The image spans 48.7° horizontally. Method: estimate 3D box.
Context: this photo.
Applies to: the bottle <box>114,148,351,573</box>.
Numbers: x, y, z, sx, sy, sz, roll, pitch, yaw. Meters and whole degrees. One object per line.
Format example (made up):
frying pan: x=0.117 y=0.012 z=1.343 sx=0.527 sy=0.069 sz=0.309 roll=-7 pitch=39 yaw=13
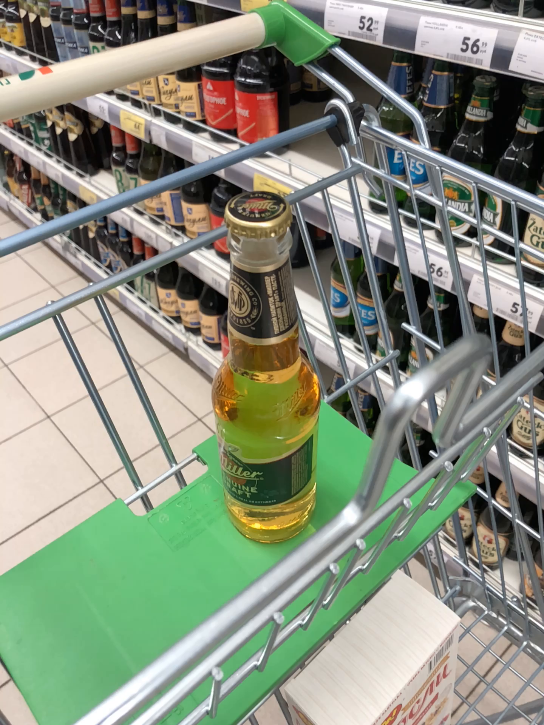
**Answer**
bottle: x=-0.013 y=0.010 z=0.315 sx=0.070 sy=0.209 sz=0.070 roll=-2 pitch=41 yaw=2
